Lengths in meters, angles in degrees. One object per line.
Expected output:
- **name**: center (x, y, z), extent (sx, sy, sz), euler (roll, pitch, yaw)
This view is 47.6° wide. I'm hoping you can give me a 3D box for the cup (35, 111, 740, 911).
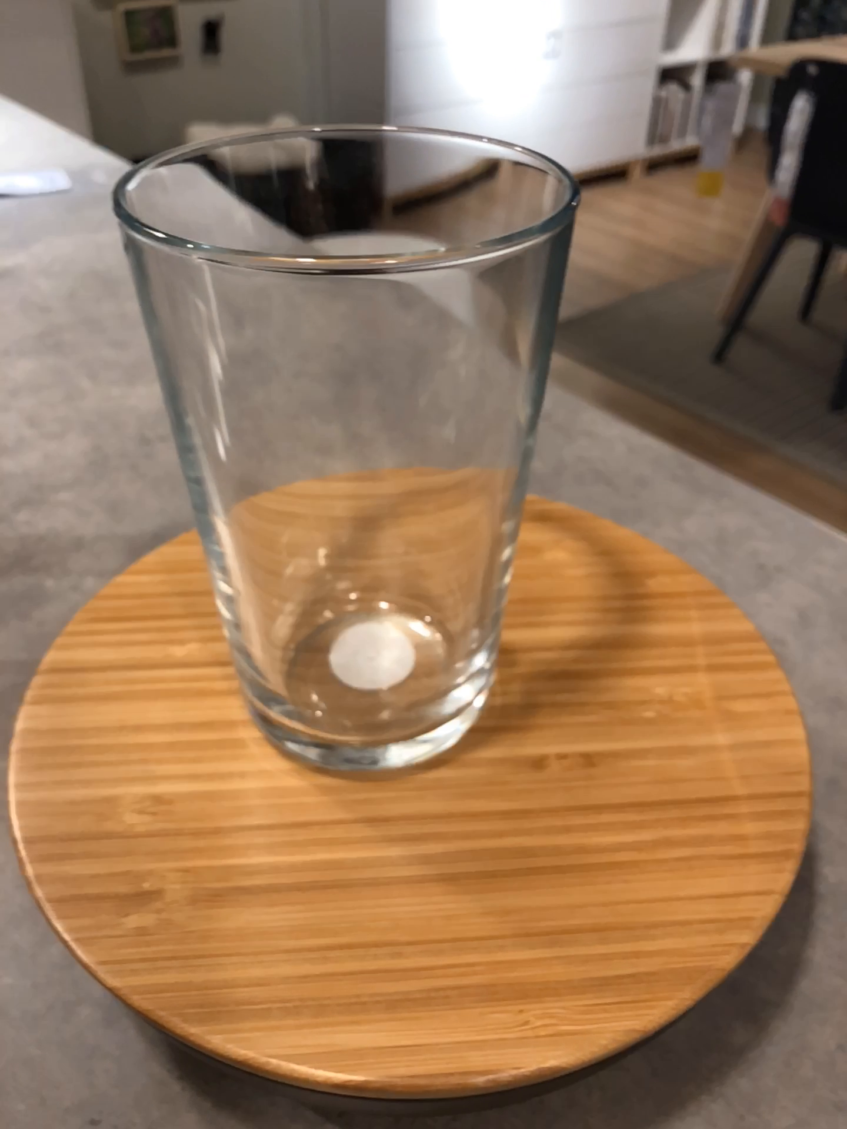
- **cup**: center (-0.008, -0.019, 0.234), extent (0.100, 0.139, 0.100), euler (1, 36, -1)
